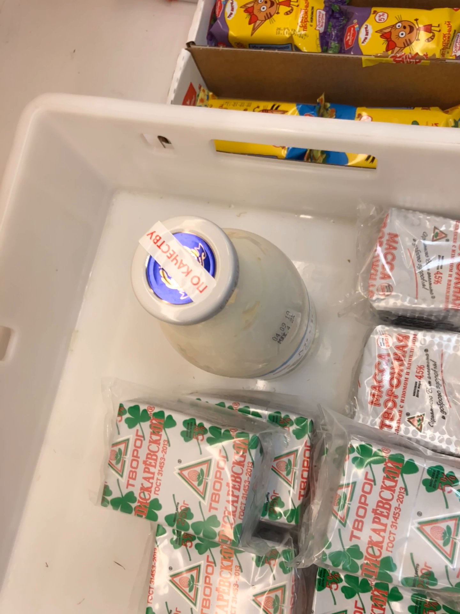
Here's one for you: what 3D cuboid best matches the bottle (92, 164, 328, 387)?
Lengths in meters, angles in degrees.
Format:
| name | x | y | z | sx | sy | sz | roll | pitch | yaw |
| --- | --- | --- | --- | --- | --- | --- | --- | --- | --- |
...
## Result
| name | x | y | z | sx | sy | sz | roll | pitch | yaw |
| --- | --- | --- | --- | --- | --- | --- | --- | --- | --- |
| bottle | 0.011 | 0.000 | 0.308 | 0.072 | 0.221 | 0.071 | -3 | 77 | 14 |
